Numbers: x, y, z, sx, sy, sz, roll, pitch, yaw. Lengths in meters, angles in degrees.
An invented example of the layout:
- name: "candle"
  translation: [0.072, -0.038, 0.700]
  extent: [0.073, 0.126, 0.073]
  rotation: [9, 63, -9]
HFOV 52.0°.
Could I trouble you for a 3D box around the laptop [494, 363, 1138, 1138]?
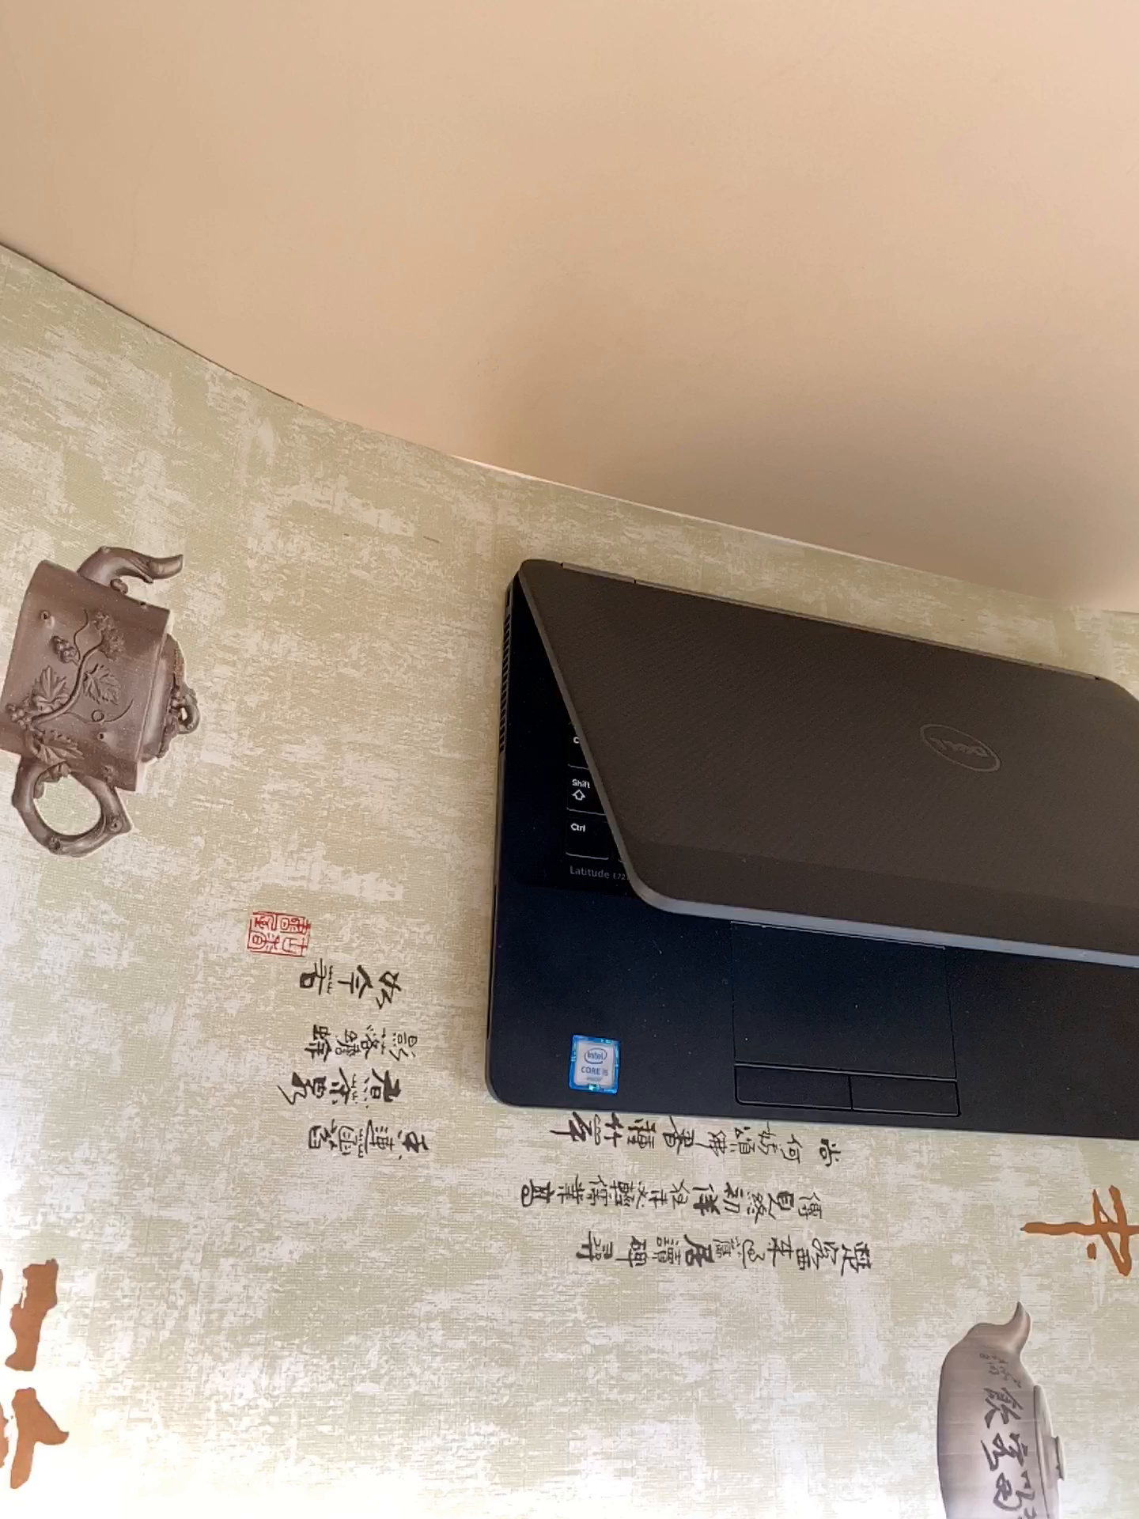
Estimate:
- name: "laptop"
  translation: [0.144, 0.019, 0.432]
  extent: [0.309, 0.136, 0.212]
  rotation: [9, 67, -18]
